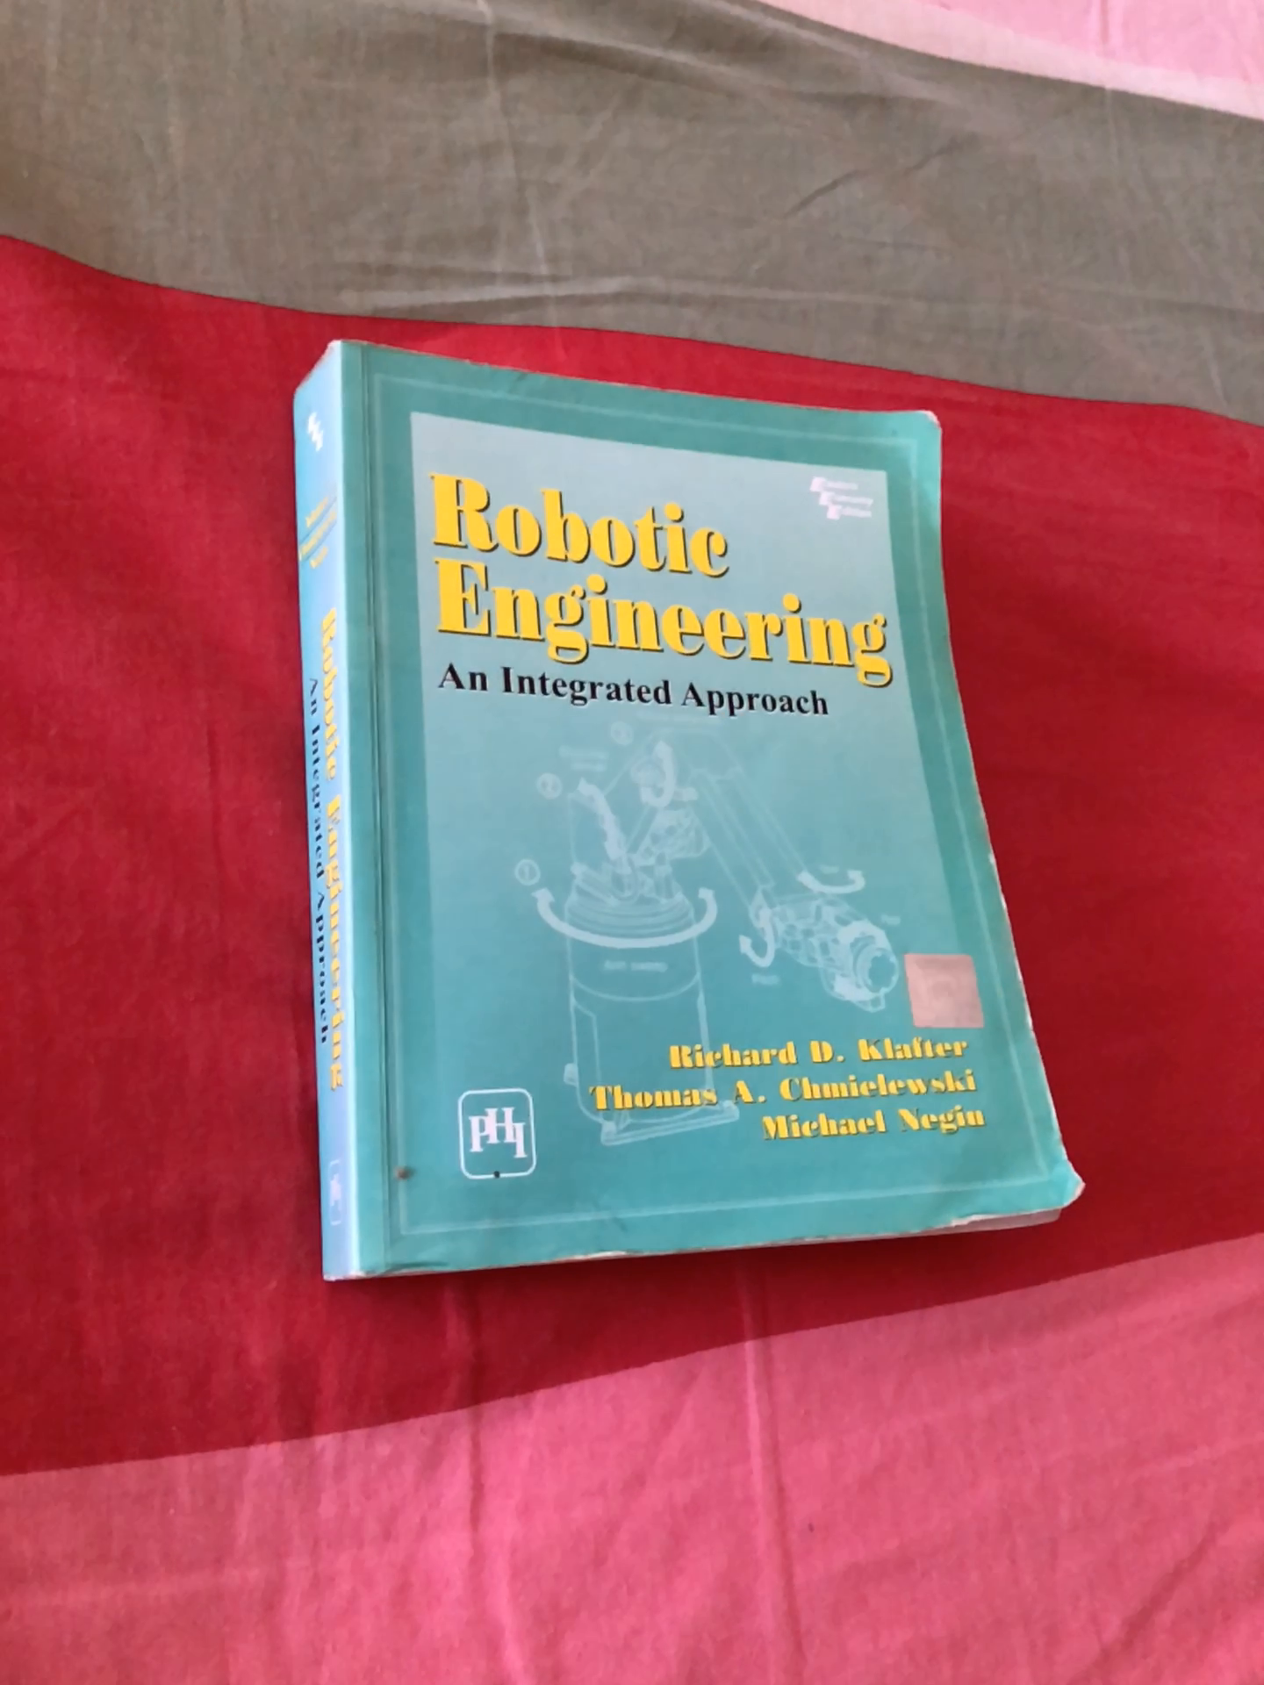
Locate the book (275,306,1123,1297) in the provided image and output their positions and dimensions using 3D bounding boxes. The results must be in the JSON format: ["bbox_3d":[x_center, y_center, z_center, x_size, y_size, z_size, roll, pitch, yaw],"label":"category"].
[{"bbox_3d":[0.010,-0.011,0.325,0.172,0.043,0.205,2,70,-22],"label":"book"}]
